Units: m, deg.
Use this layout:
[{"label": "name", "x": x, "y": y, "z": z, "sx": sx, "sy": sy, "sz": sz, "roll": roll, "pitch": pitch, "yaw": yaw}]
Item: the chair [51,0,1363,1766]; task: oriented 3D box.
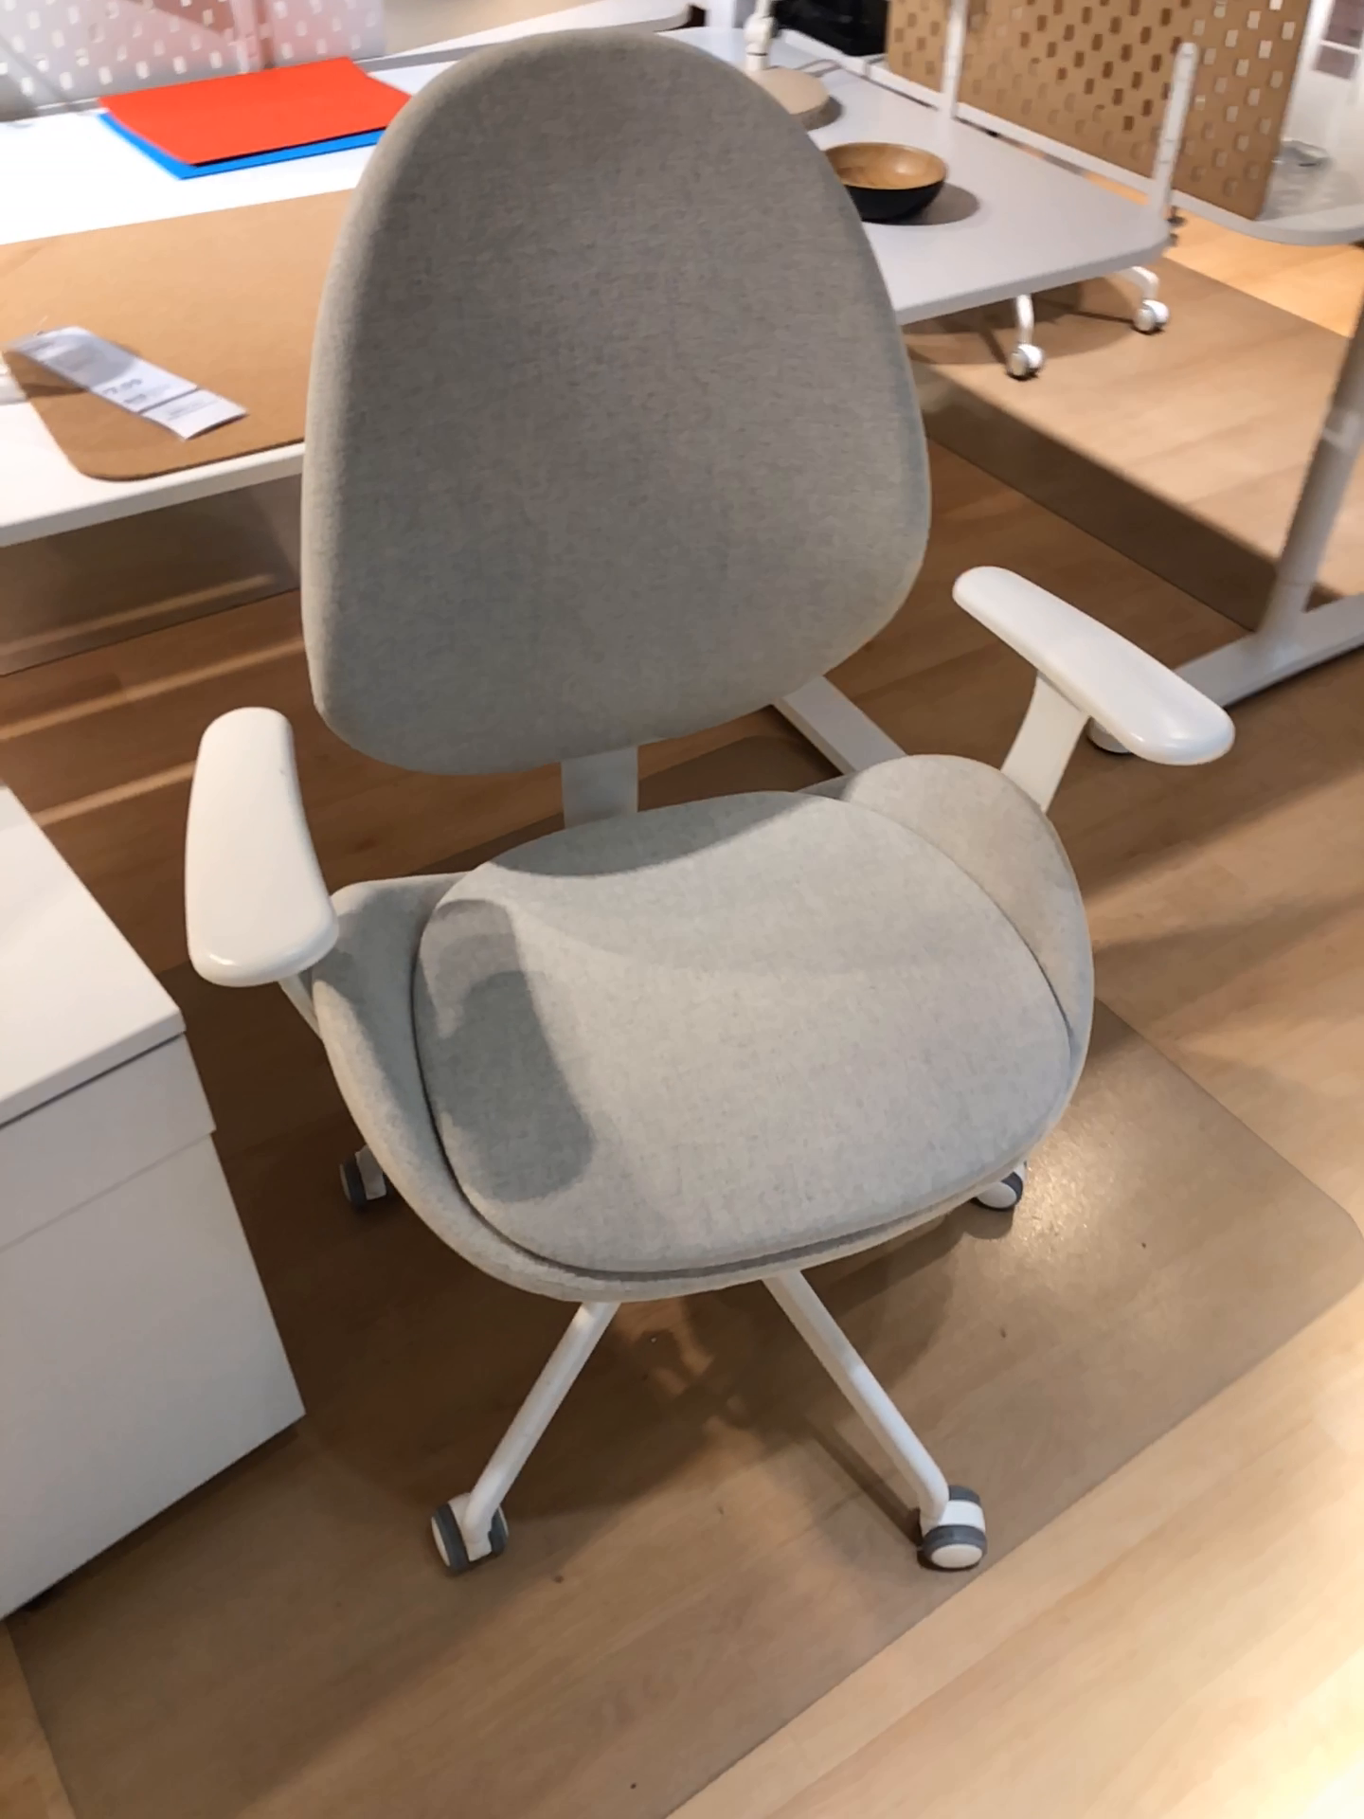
[{"label": "chair", "x": 0.036, "y": -0.029, "z": 1.056, "sx": 0.650, "sy": 0.914, "sz": 0.704, "roll": -13, "pitch": 46, "yaw": -16}]
